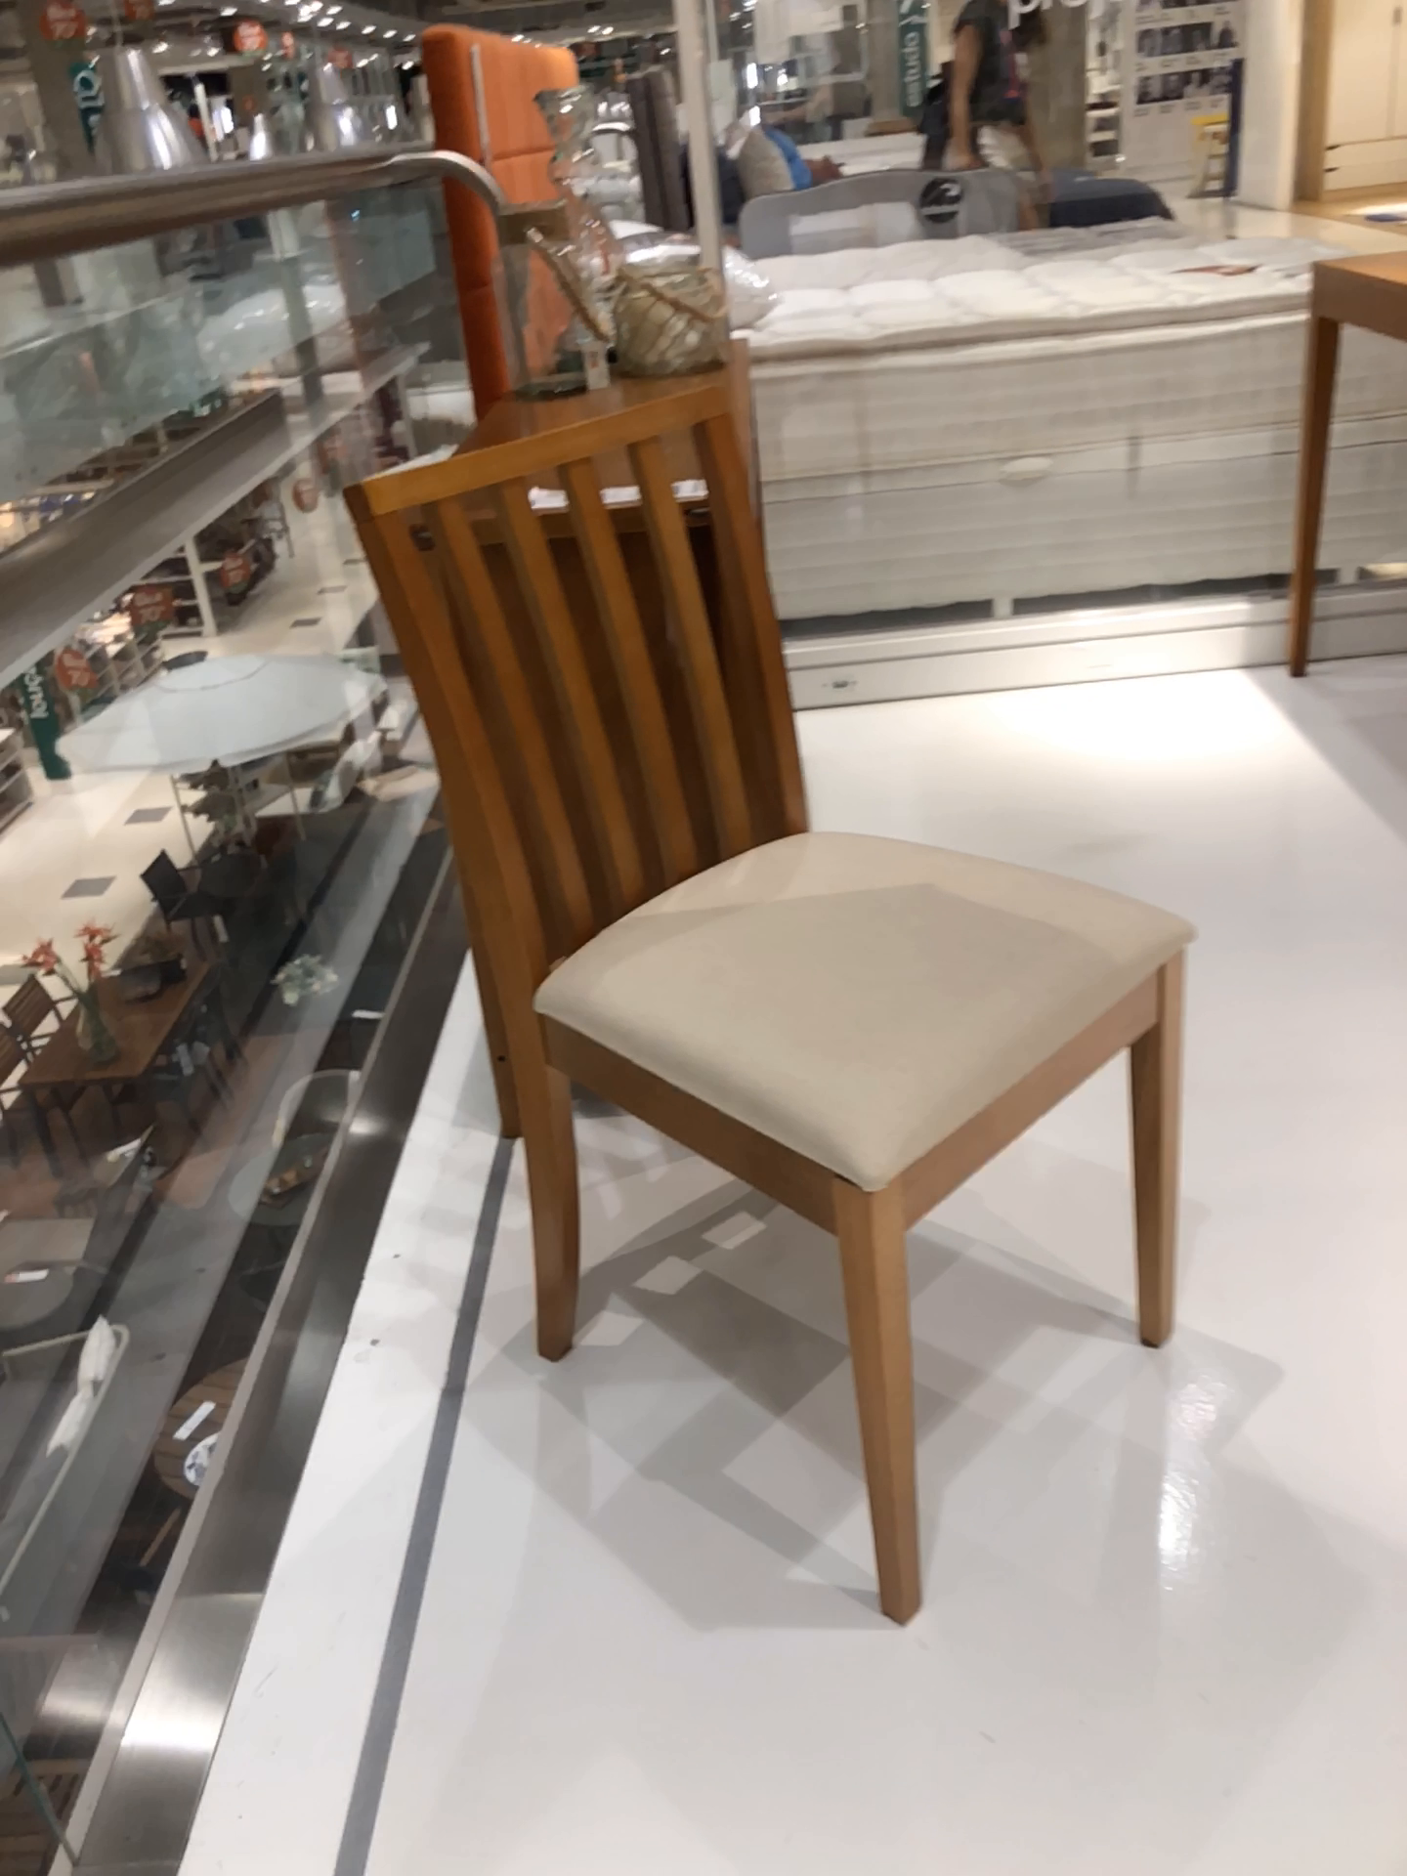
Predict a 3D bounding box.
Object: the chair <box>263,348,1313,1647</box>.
[{"bbox_3d":[0.102,-0.014,1.318,0.552,0.834,0.542,18,36,39],"label":"chair"}]
